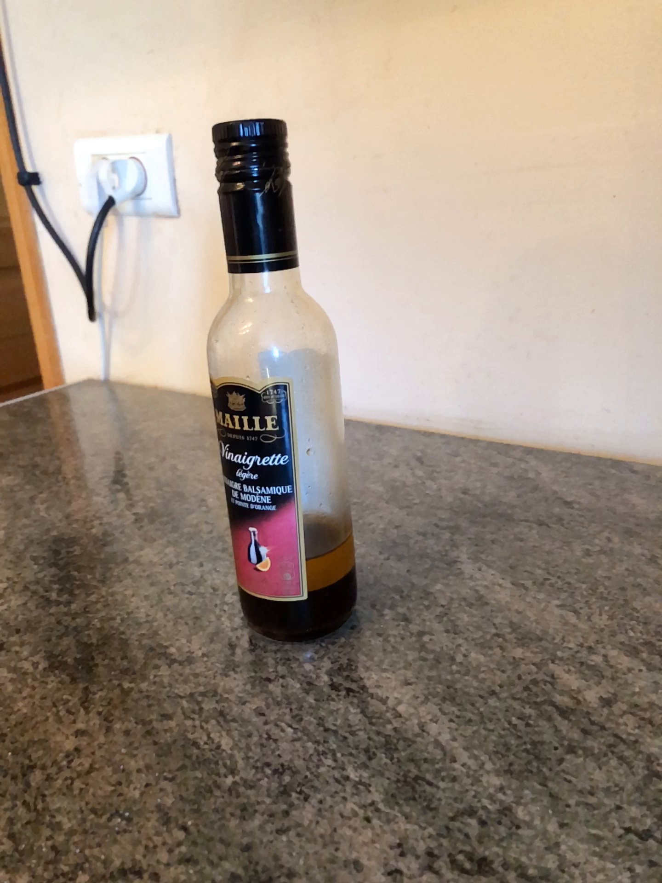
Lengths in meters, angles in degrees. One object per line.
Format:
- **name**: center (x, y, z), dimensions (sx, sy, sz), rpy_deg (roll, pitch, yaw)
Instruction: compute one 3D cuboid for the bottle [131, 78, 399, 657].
- **bottle**: center (-0.021, -0.029, 0.329), dimensions (0.070, 0.229, 0.070), rpy_deg (-4, 18, 1)
